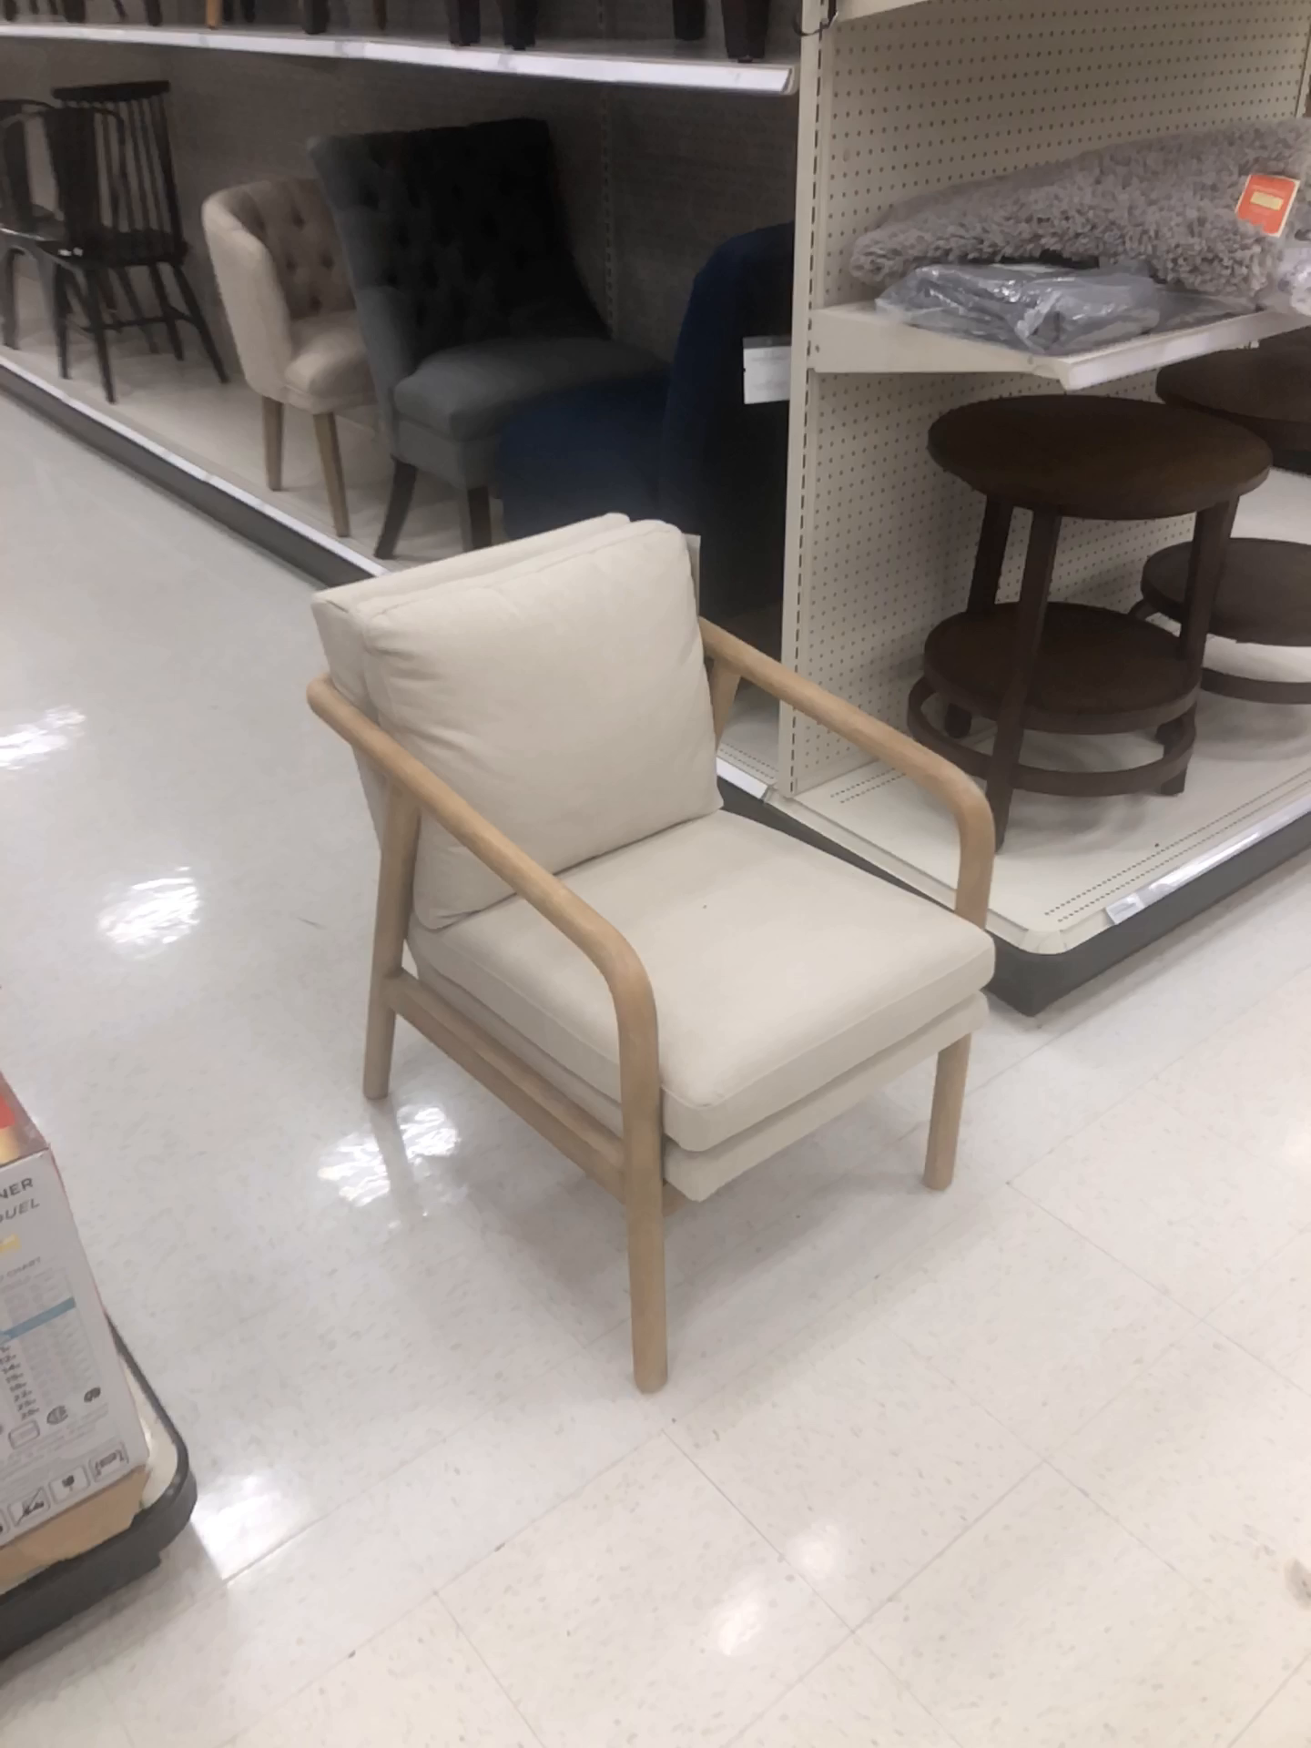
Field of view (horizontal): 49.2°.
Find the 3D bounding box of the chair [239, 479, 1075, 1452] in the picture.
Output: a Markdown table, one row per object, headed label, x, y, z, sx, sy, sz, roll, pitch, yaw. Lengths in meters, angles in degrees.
| label | x | y | z | sx | sy | sz | roll | pitch | yaw |
| --- | --- | --- | --- | --- | --- | --- | --- | --- | --- |
| chair | -0.023 | 0.049 | 1.798 | 0.581 | 0.806 | 0.762 | -23 | 38 | -31 |
